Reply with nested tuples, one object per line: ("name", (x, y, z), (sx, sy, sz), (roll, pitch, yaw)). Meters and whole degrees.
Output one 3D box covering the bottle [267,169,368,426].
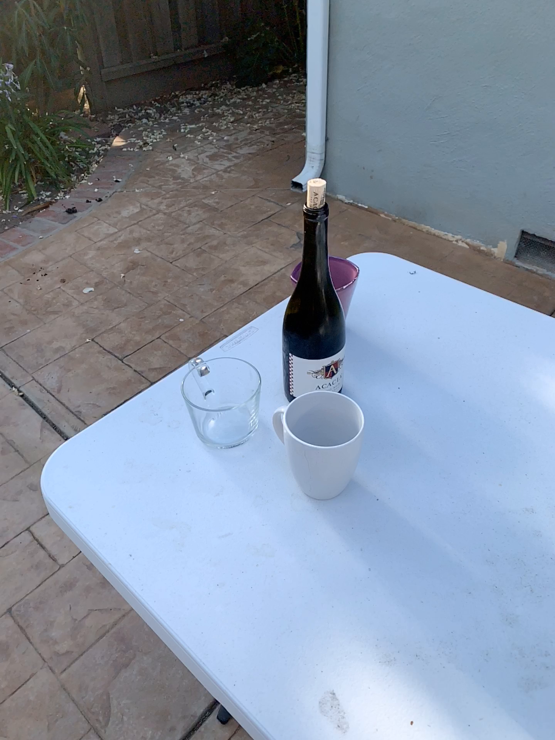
("bottle", (0.045, -0.079, 0.727), (0.086, 0.318, 0.087), (-1, 41, 1))
